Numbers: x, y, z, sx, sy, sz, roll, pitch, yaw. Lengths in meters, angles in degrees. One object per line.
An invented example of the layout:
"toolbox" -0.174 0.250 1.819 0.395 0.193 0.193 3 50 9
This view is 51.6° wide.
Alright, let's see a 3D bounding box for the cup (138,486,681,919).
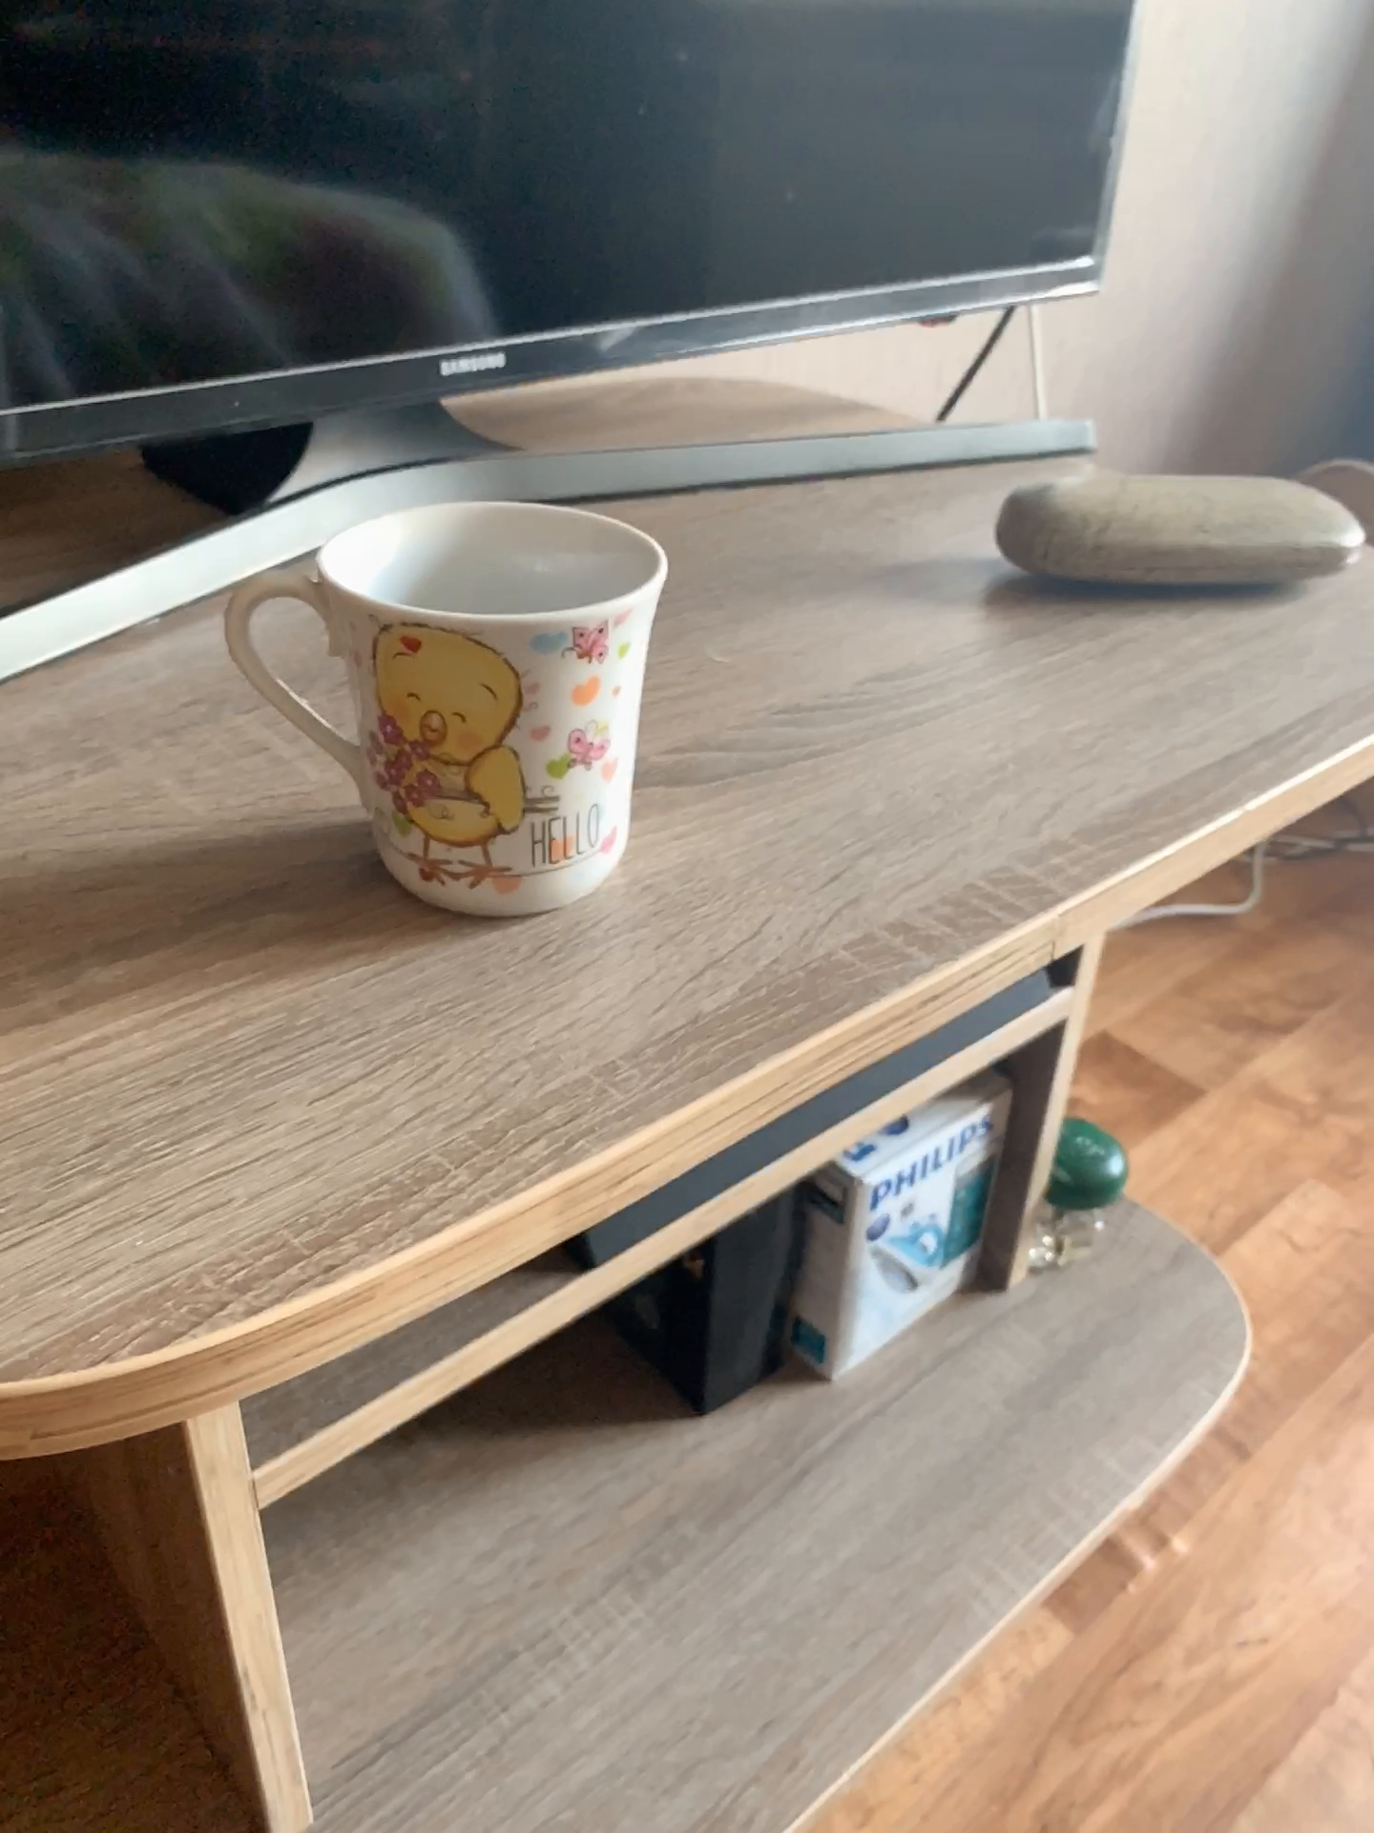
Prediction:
"cup" -0.060 -0.052 0.342 0.110 0.080 0.070 1 31 -4
